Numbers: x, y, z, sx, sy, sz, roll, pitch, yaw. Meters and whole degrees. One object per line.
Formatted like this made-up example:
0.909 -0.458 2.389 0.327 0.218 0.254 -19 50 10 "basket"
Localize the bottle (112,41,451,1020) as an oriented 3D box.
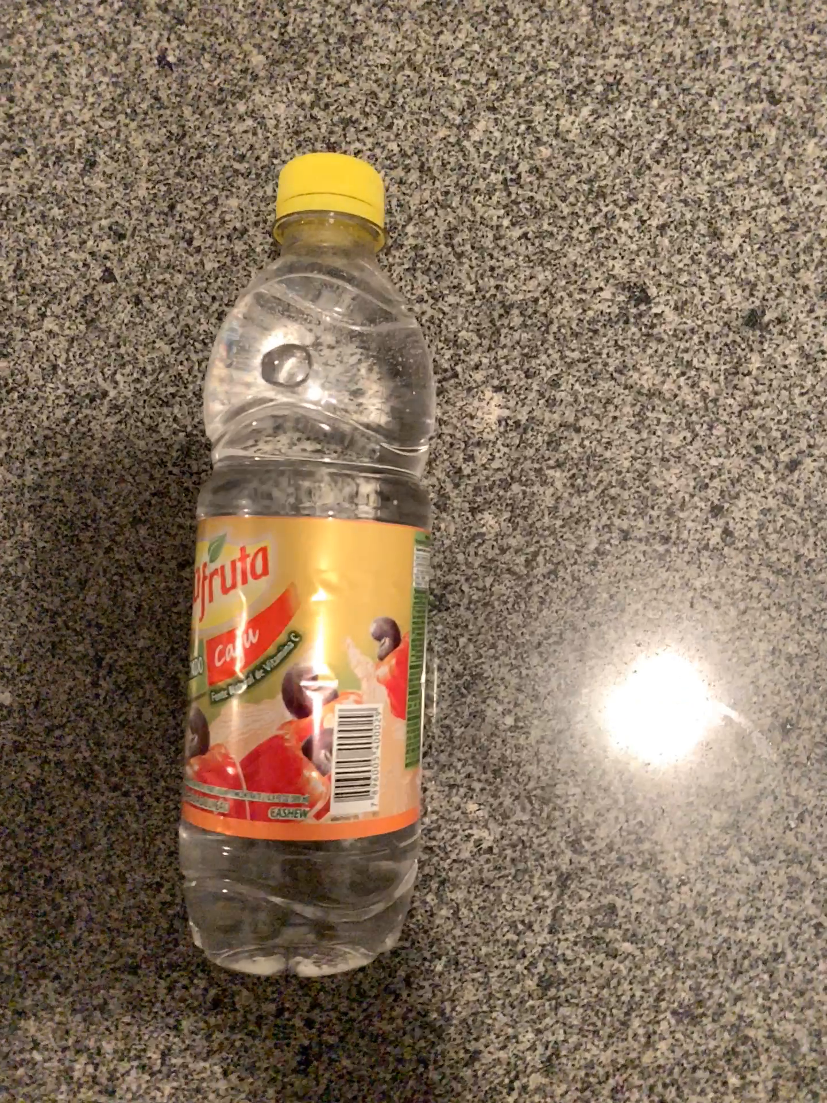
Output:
-0.029 -0.008 0.232 0.070 0.060 0.230 1 86 4 "bottle"
